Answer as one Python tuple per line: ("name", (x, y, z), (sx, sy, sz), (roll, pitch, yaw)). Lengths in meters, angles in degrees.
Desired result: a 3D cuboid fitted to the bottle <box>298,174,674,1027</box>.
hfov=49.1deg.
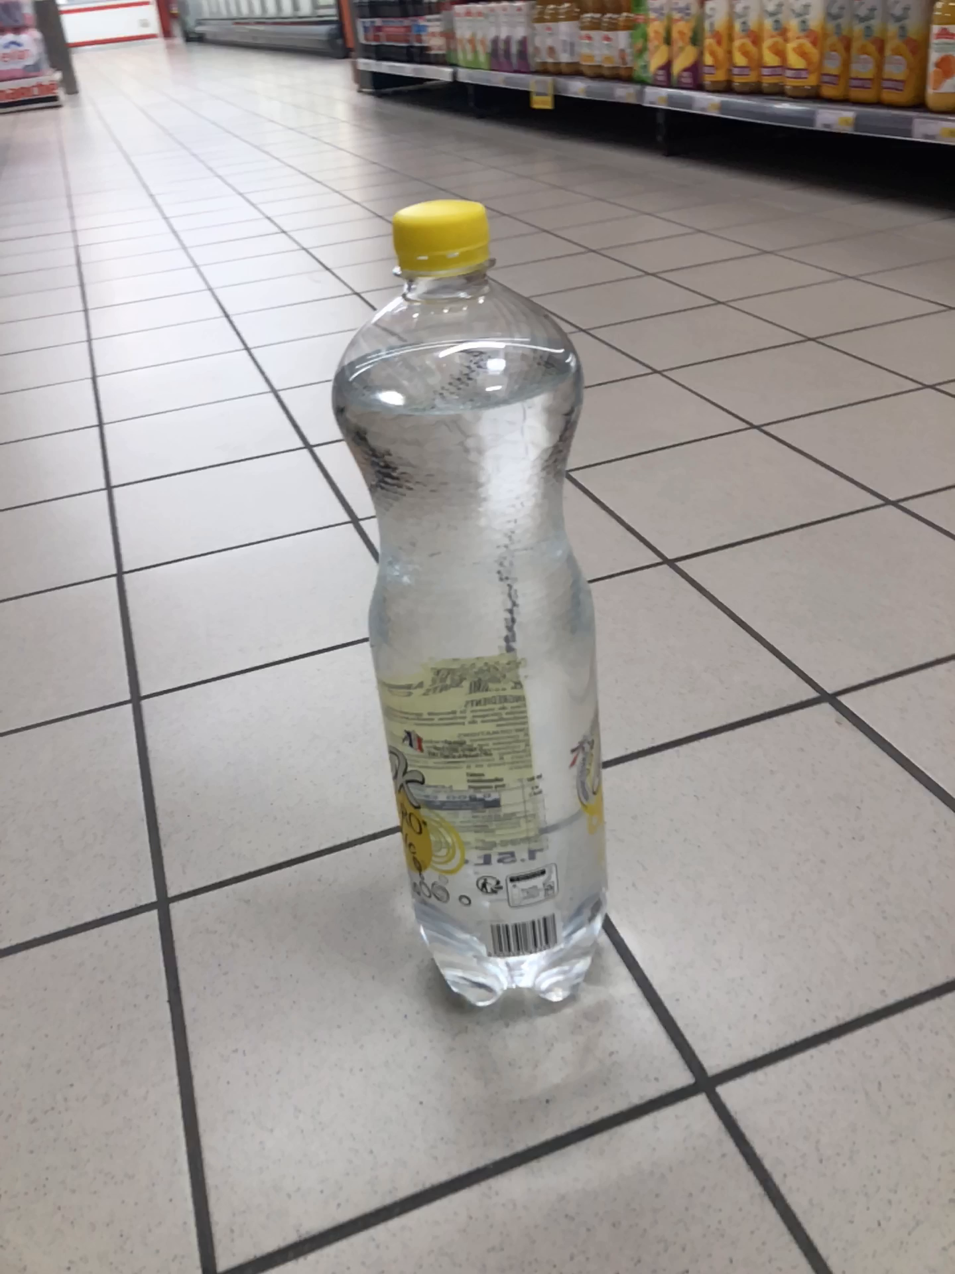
("bottle", (0.011, -0.003, 0.422), (0.100, 0.318, 0.100), (-4, 31, 3))
